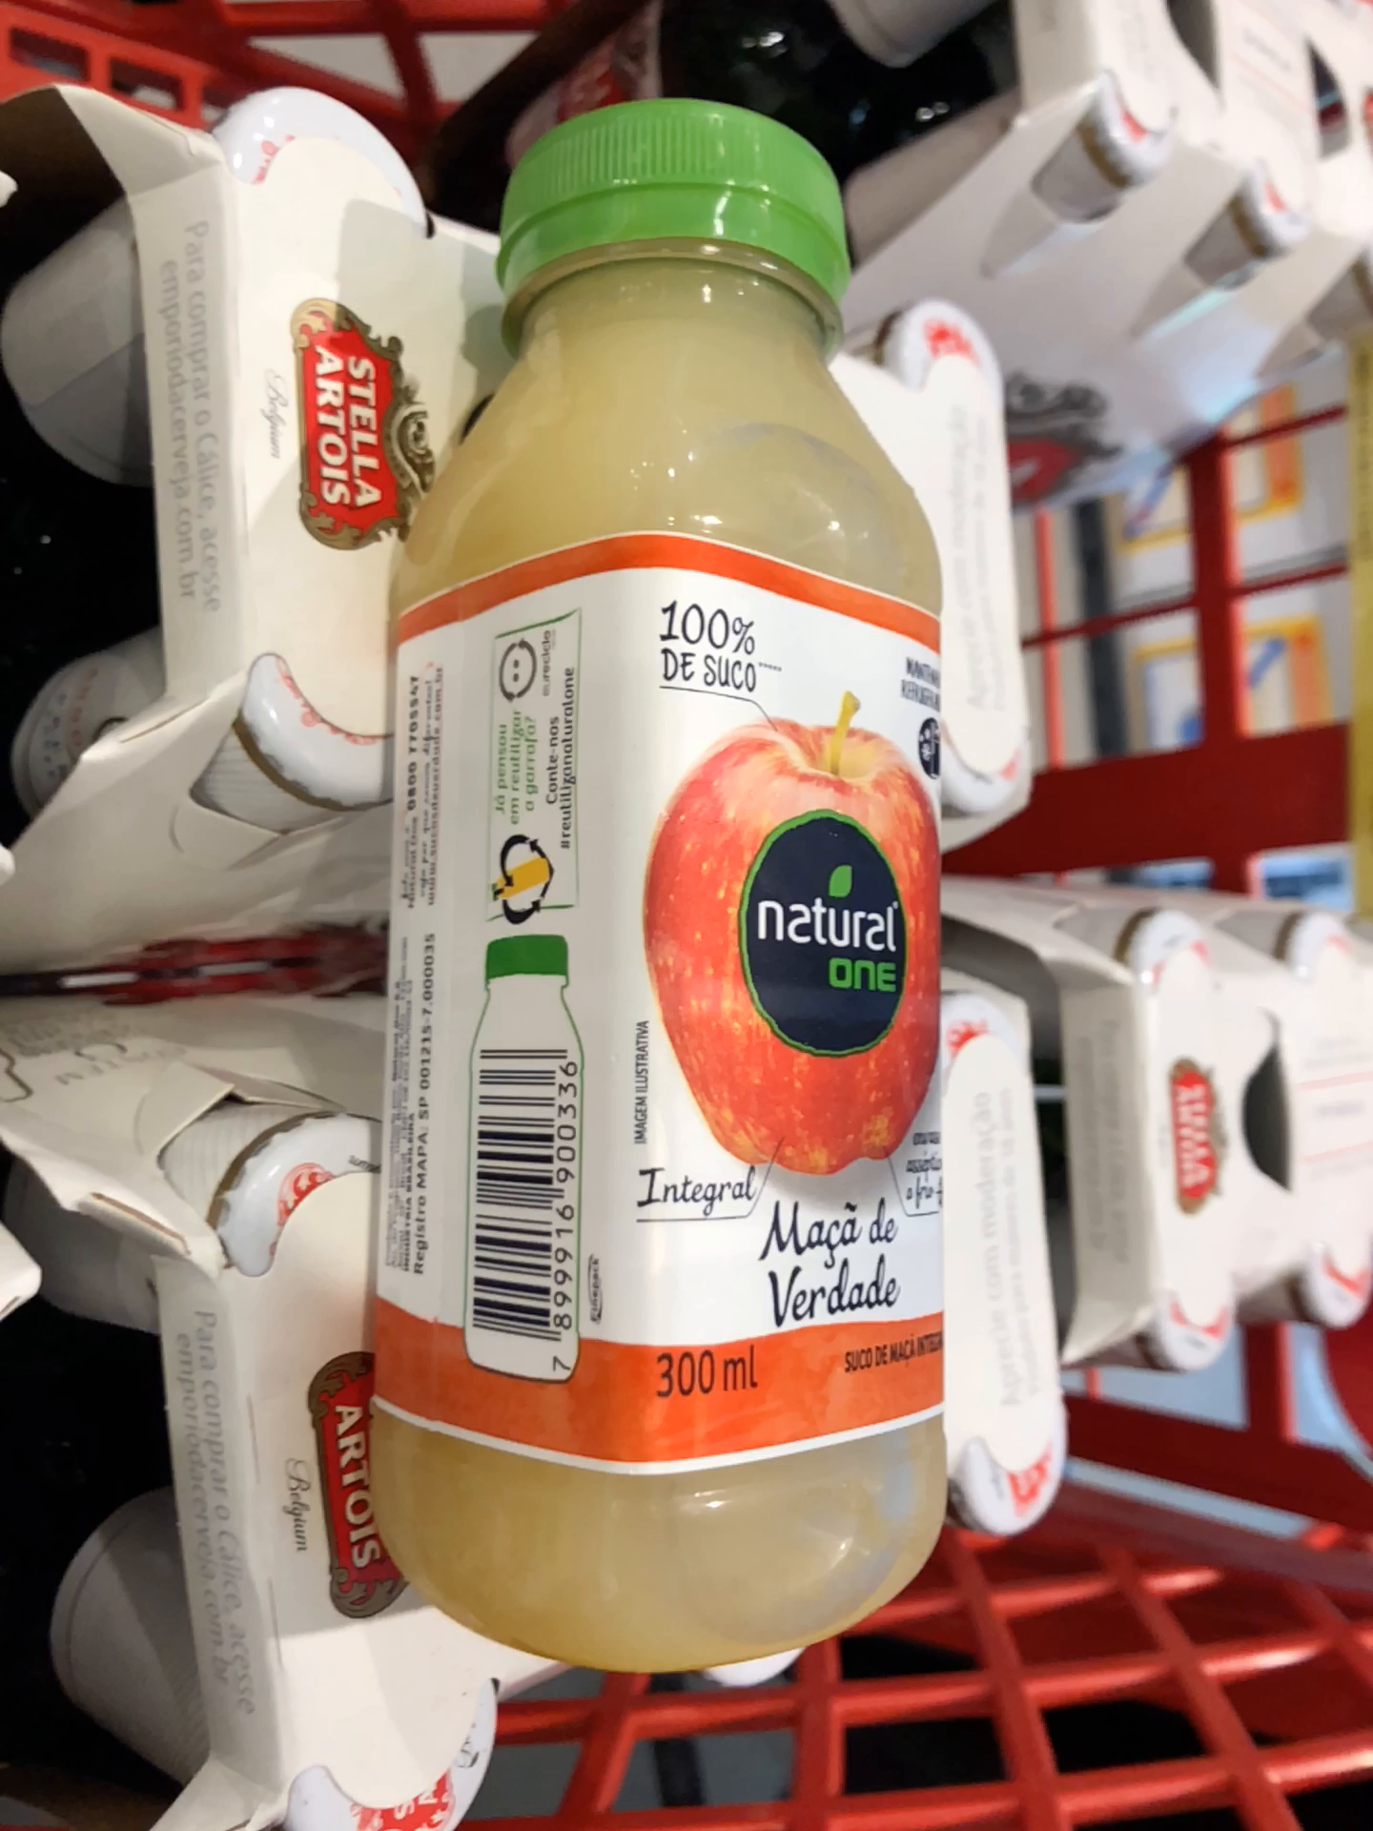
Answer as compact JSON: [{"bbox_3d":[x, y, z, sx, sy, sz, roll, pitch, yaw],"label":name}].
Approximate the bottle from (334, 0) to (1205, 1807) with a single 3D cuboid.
[{"bbox_3d":[0.005,-0.020,0.165,0.060,0.060,0.180,2,83,-39],"label":"bottle"}]
